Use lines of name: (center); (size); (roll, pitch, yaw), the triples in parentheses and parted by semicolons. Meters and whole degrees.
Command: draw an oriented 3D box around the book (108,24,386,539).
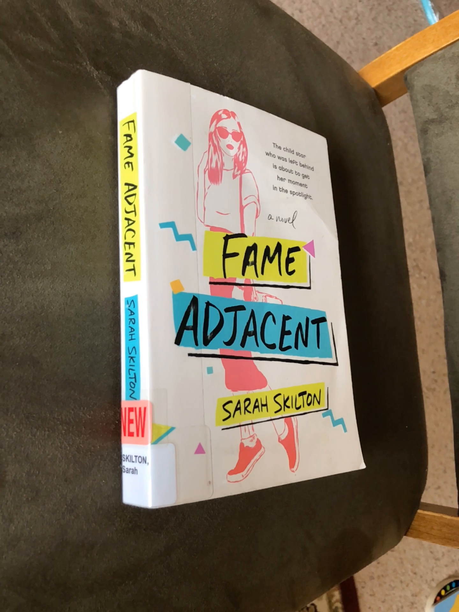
book: (0.011, -0.012, 0.270); (0.141, 0.040, 0.220); (4, 78, -36)
